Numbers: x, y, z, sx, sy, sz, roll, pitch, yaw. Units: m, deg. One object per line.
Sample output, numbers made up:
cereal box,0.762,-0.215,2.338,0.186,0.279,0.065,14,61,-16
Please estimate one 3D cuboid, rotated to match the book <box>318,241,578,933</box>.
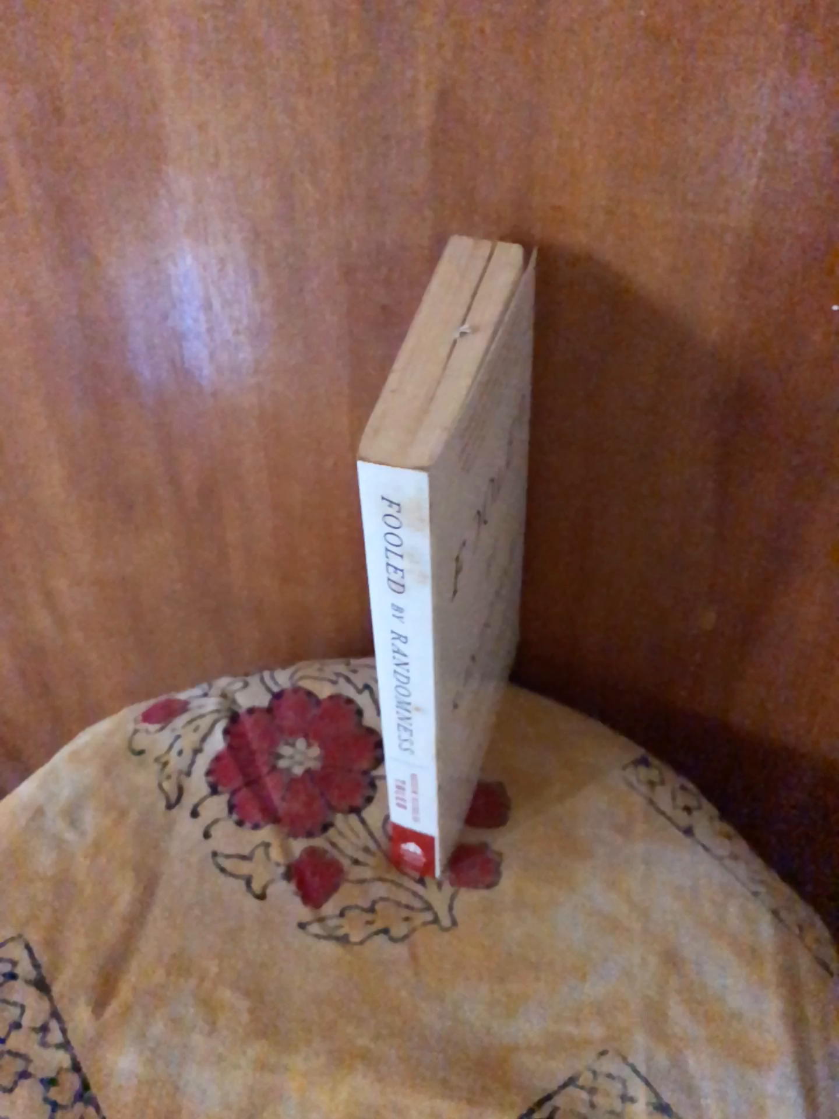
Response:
book,0.013,0.008,0.351,0.040,0.199,0.161,12,38,12
